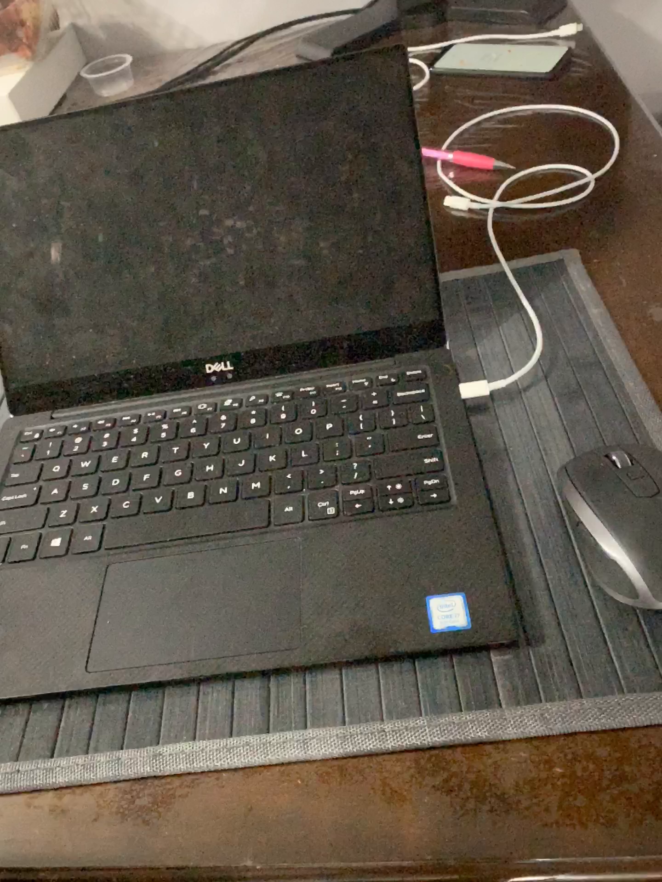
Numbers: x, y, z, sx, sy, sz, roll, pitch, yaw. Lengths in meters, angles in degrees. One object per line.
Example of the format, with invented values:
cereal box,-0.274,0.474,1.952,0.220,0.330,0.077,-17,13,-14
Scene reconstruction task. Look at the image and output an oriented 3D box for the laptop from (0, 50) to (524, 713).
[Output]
laptop,-0.080,-0.051,0.347,0.281,0.129,0.299,-9,47,6
